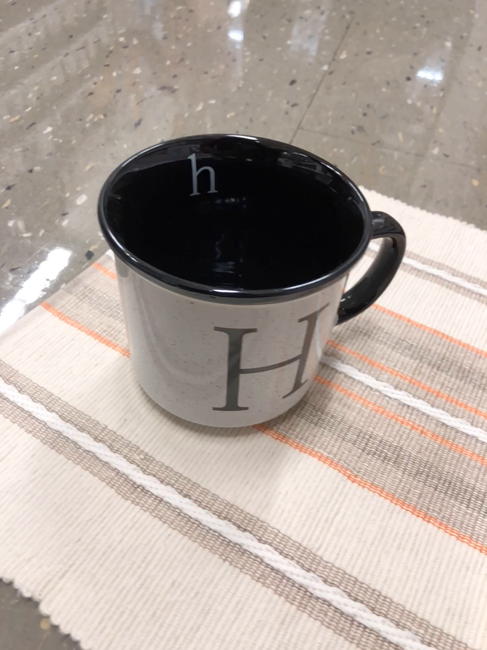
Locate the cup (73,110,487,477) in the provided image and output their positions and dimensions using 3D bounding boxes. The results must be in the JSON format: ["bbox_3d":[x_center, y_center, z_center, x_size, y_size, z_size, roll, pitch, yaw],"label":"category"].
[{"bbox_3d":[0.010,-0.019,0.243,0.140,0.100,0.100,-11,49,-15],"label":"cup"}]
